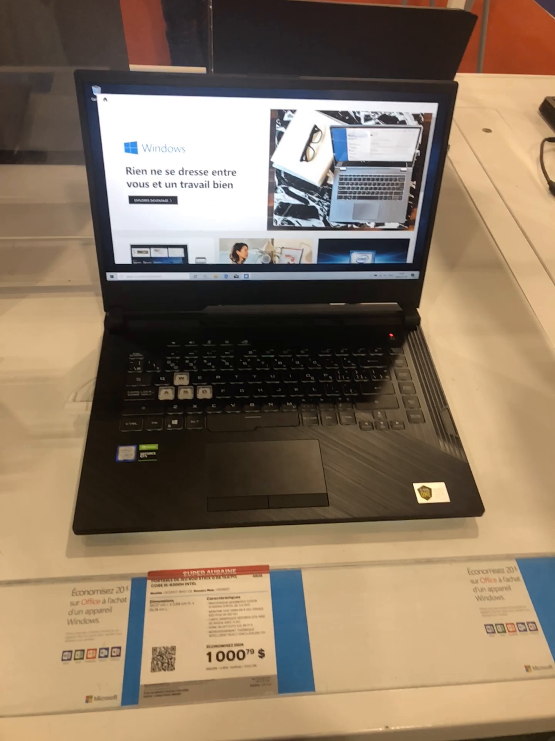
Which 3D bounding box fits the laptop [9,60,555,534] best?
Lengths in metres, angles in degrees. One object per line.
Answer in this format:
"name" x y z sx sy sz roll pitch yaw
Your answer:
"laptop" 0.003 -0.084 0.571 0.363 0.236 0.345 -2 50 -5
